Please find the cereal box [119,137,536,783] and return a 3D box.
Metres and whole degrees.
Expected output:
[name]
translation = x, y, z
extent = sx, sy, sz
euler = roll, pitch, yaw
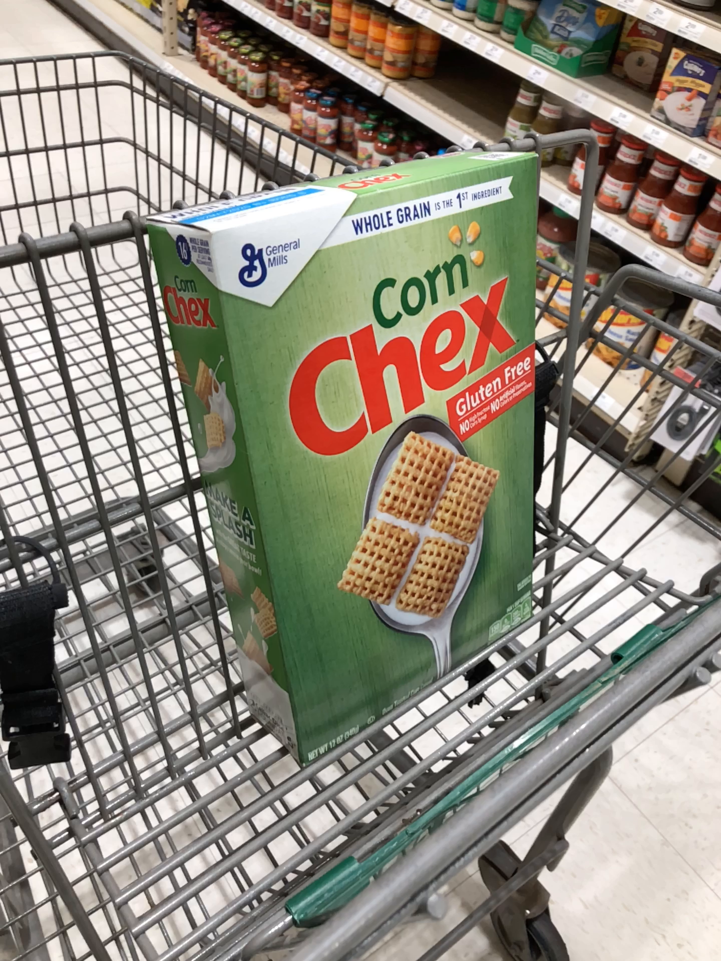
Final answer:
[cereal box]
translation = 0.007, -0.012, 0.448
extent = 0.200, 0.310, 0.060
euler = -24, 32, -31
